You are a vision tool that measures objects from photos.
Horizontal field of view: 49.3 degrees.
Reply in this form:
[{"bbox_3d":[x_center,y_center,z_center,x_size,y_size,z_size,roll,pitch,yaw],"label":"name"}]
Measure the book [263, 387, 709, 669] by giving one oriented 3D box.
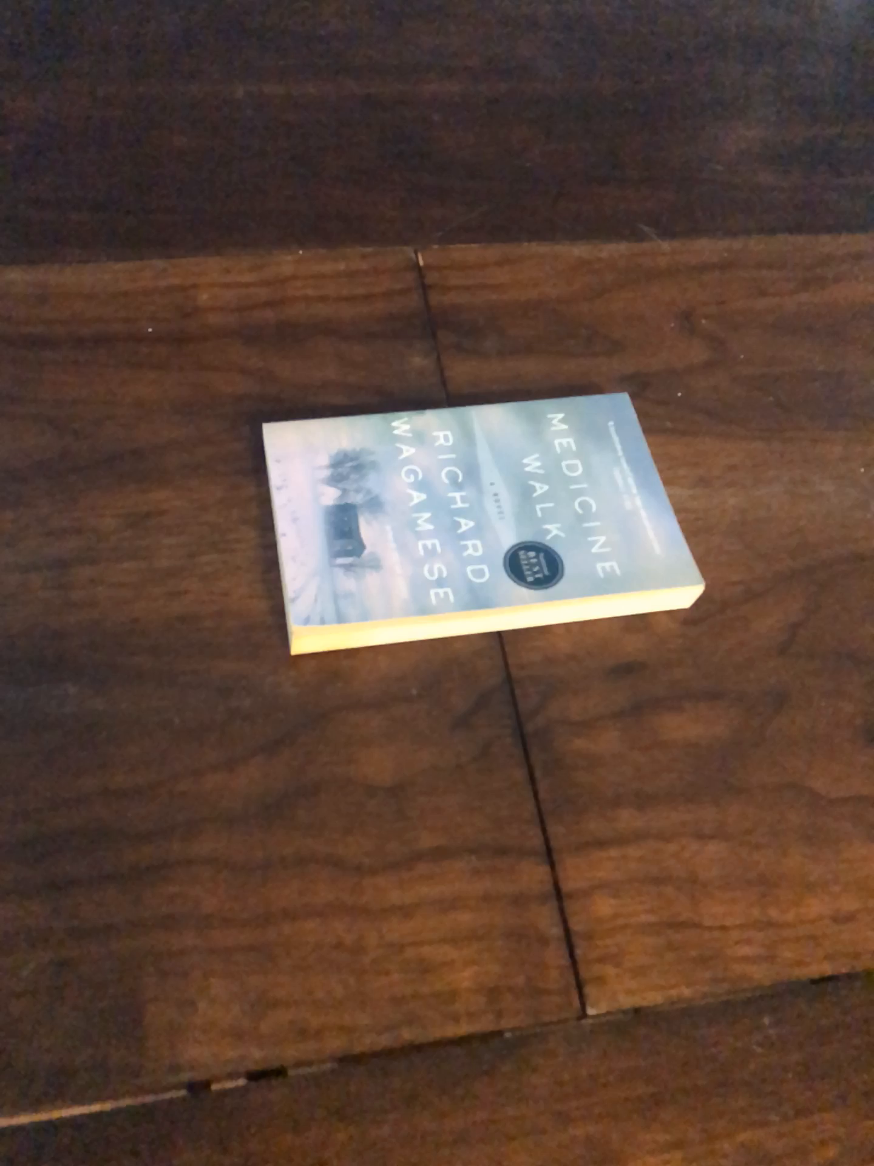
[{"bbox_3d":[0.020,-0.035,0.499,0.206,0.027,0.138,-6,59,-10],"label":"book"}]
